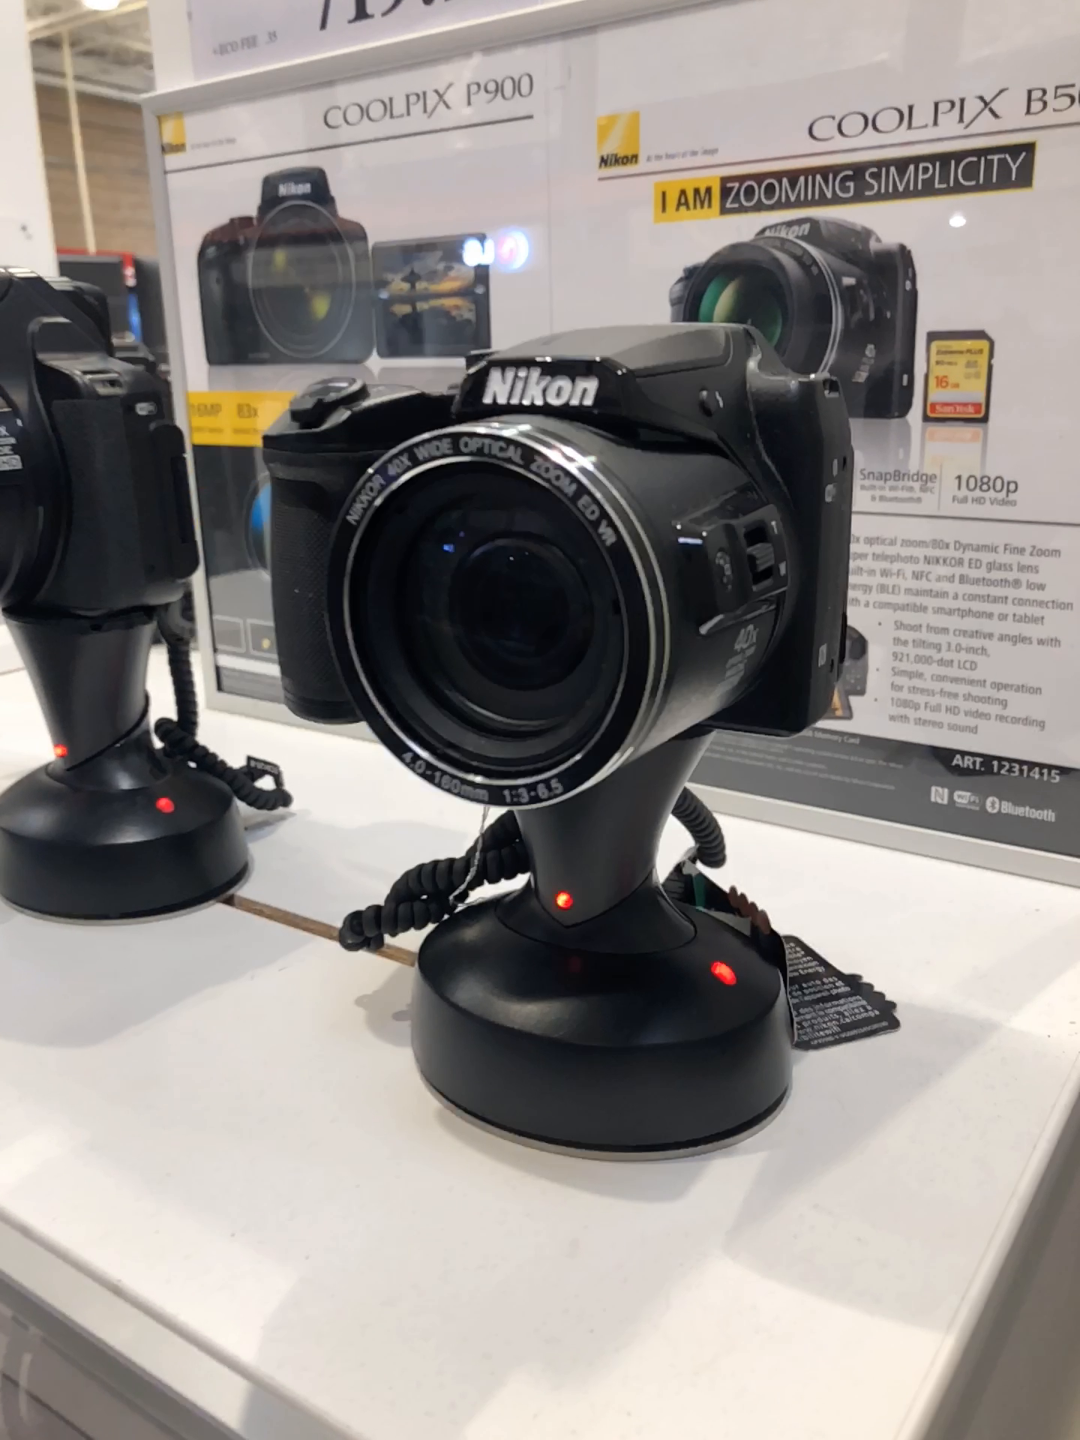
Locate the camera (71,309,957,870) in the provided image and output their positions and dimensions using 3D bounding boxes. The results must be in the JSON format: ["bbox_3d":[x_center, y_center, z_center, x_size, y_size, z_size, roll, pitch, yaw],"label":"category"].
[{"bbox_3d":[0.000,-0.034,0.219,0.120,0.070,0.100,8,19,30],"label":"camera"}]
